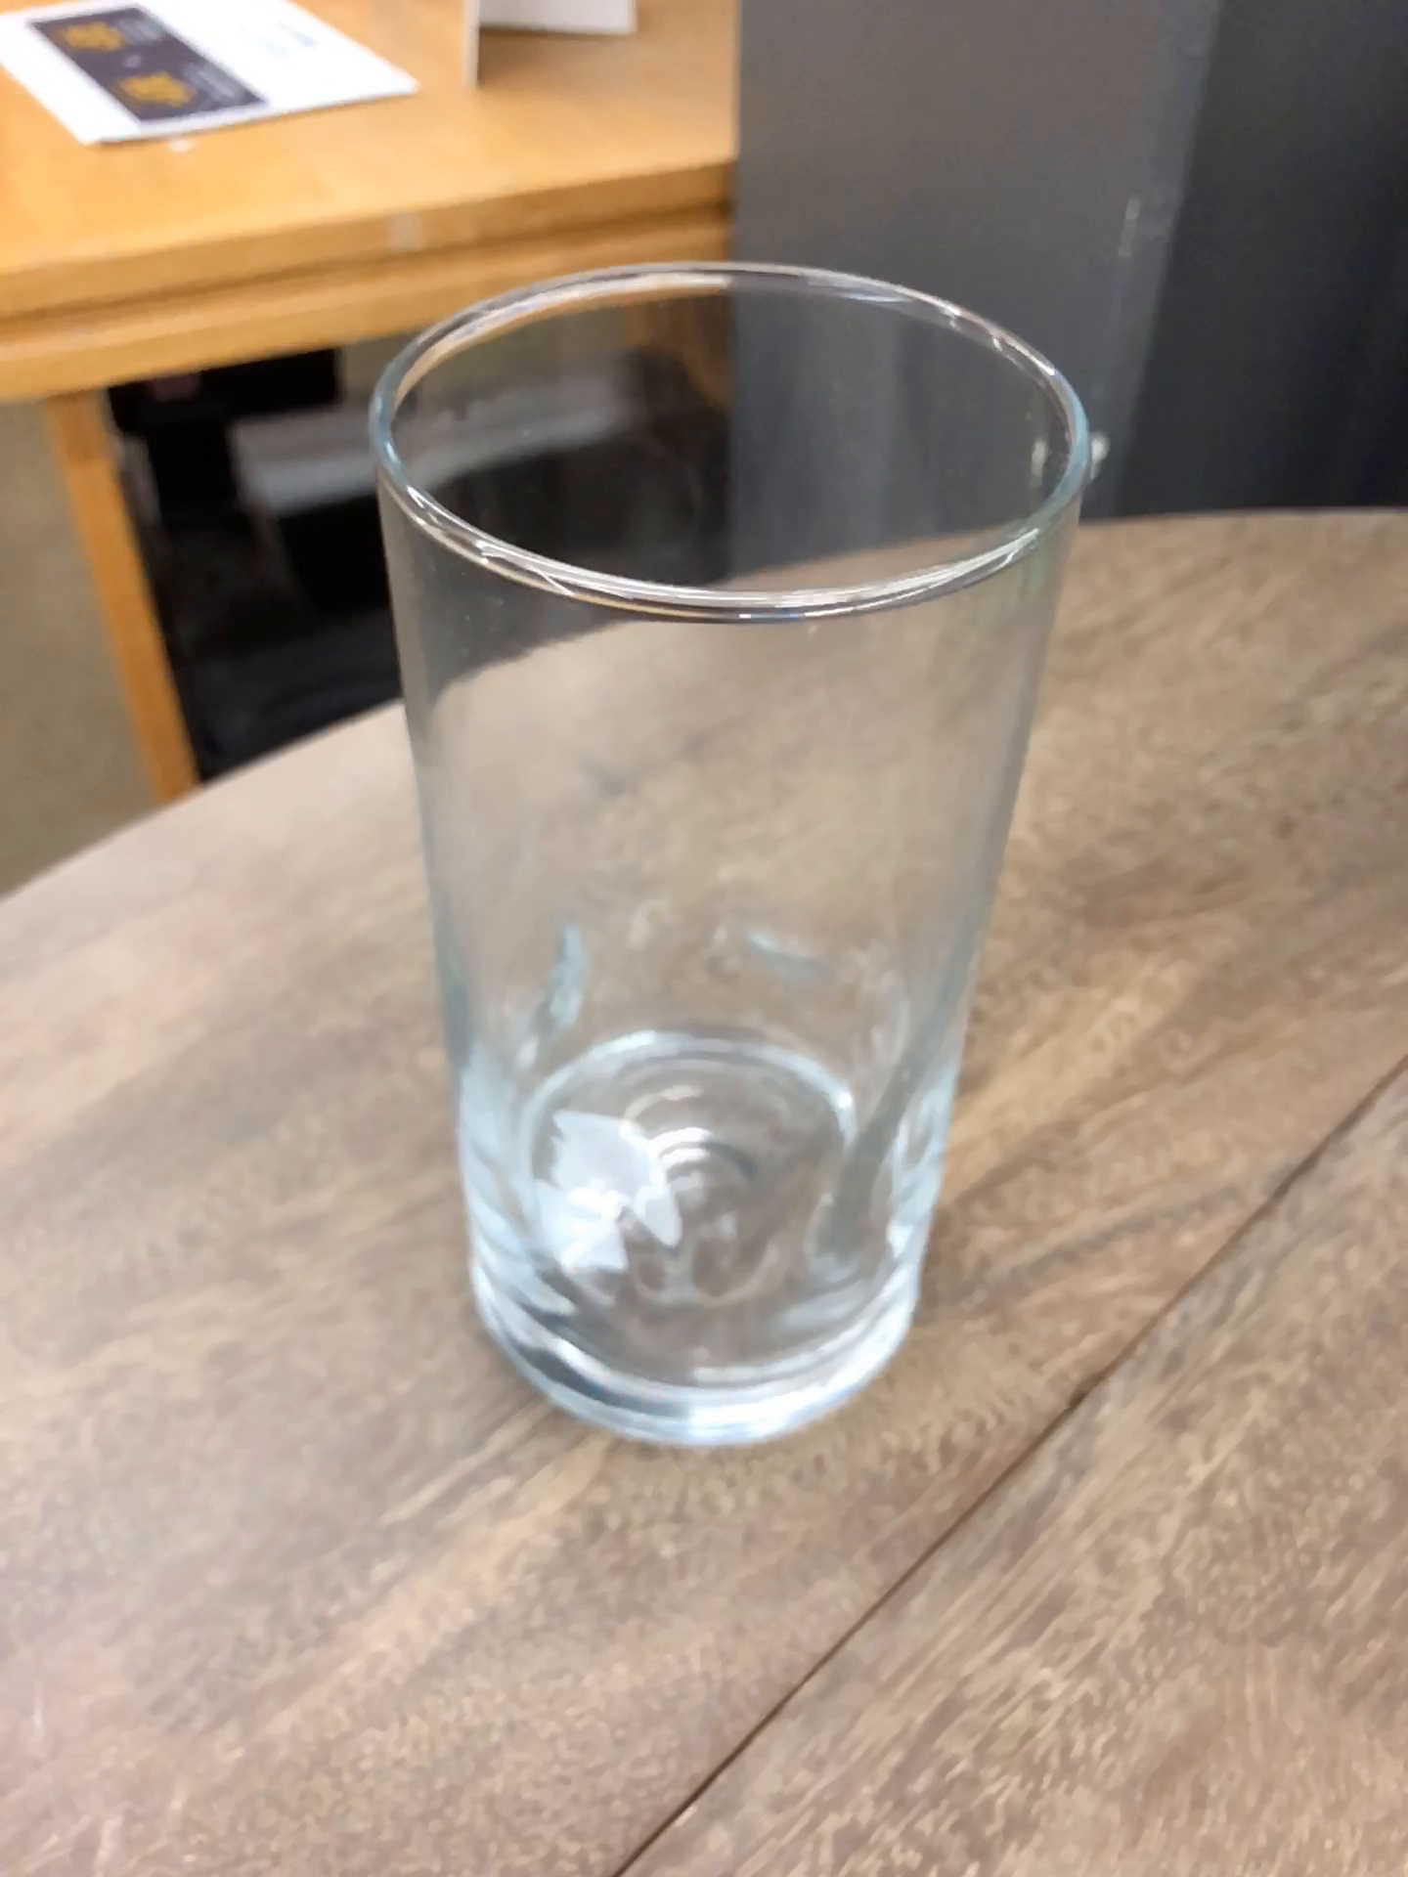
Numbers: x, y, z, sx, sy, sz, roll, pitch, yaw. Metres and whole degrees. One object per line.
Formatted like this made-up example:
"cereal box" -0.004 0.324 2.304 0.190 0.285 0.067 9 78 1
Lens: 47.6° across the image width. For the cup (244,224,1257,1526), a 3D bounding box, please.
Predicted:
"cup" -0.002 -0.003 0.213 0.081 0.144 0.078 1 44 -1
